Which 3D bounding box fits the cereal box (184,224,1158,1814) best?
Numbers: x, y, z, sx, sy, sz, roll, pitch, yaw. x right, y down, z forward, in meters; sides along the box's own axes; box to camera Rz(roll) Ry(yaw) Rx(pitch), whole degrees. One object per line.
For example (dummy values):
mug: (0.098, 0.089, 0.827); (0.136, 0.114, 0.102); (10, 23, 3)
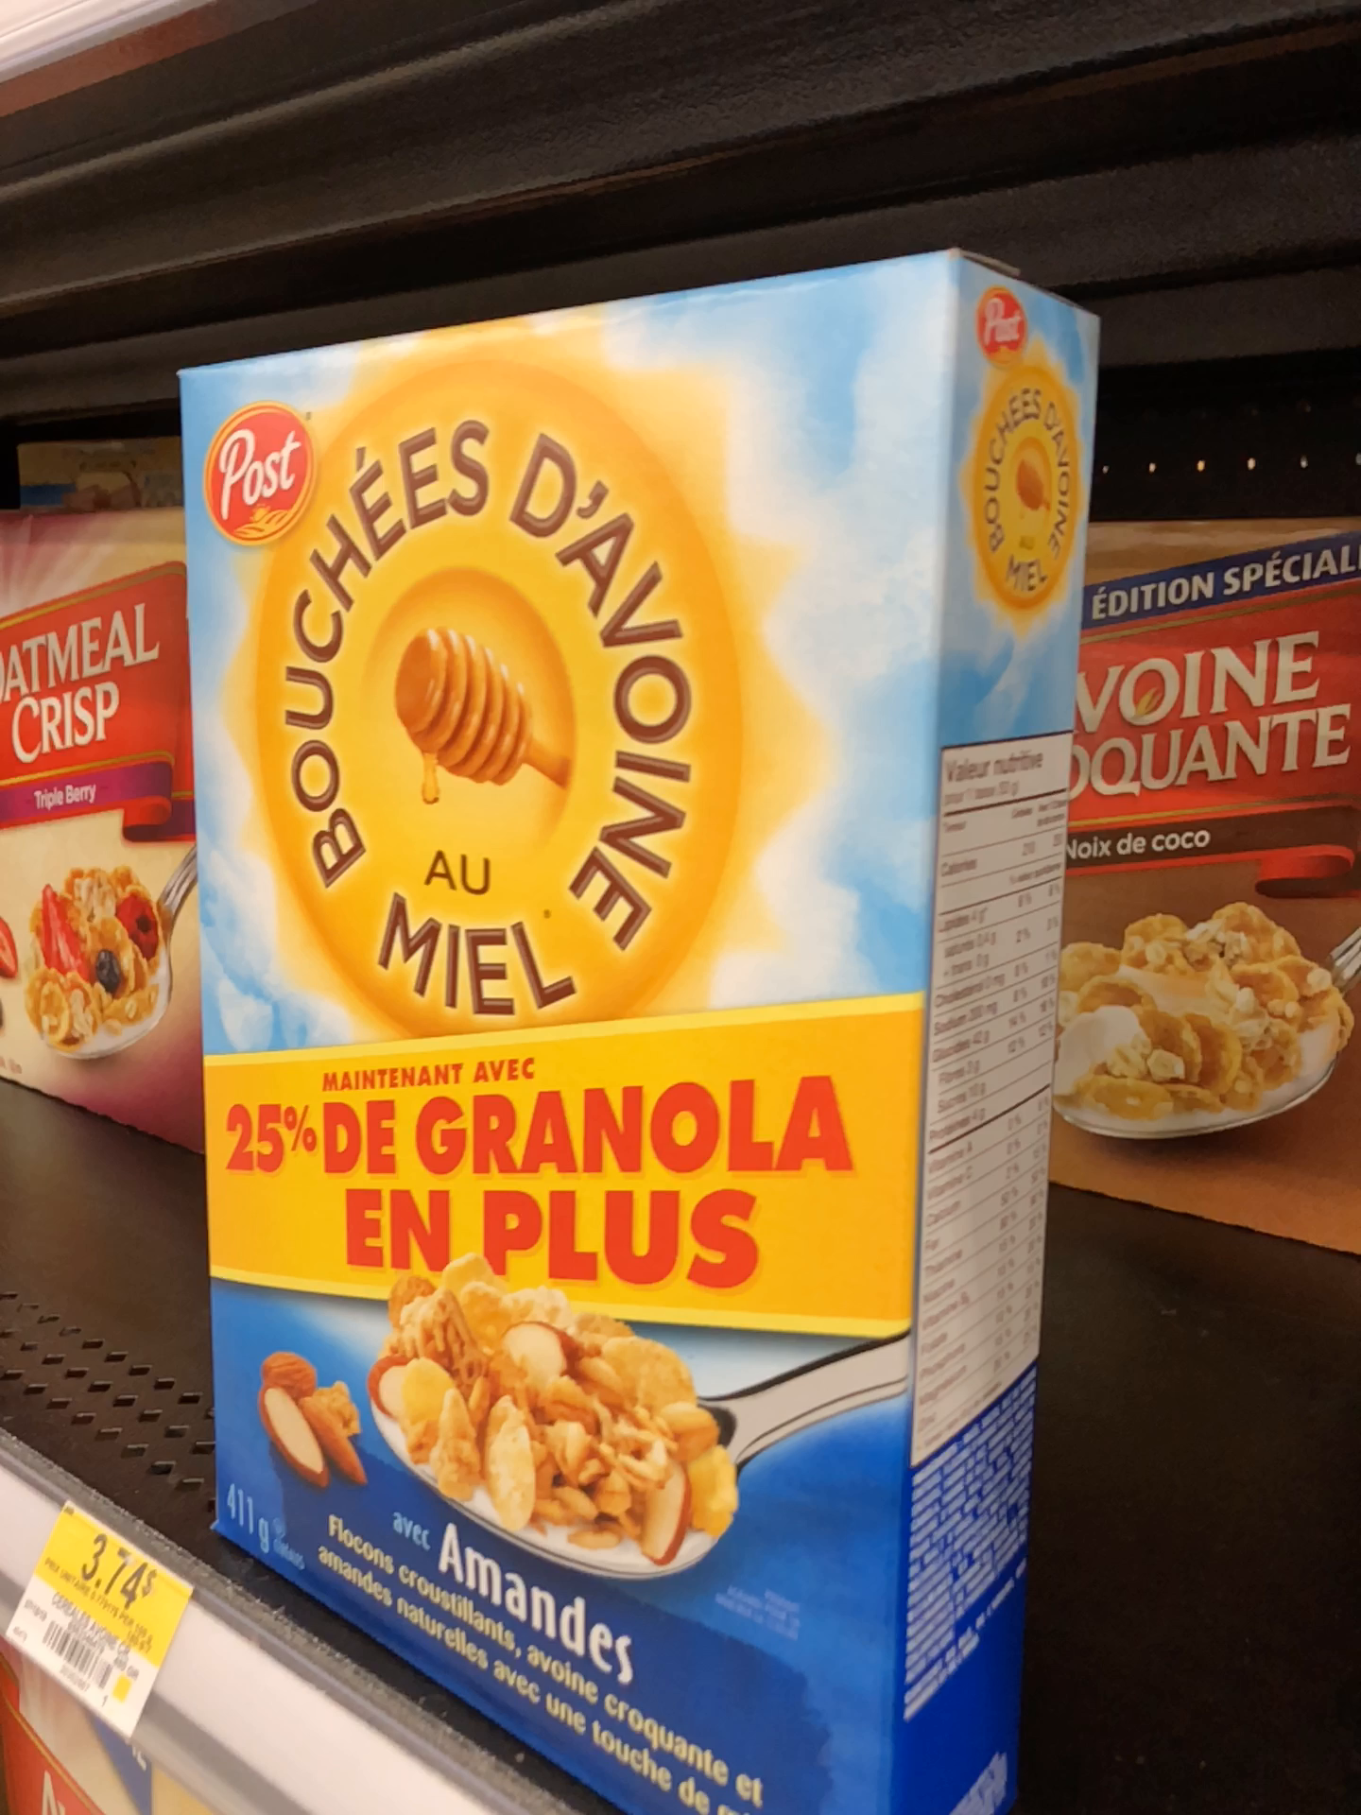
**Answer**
cereal box: (-0.019, 0.026, 0.302); (0.190, 0.269, 0.060); (10, 12, 40)
